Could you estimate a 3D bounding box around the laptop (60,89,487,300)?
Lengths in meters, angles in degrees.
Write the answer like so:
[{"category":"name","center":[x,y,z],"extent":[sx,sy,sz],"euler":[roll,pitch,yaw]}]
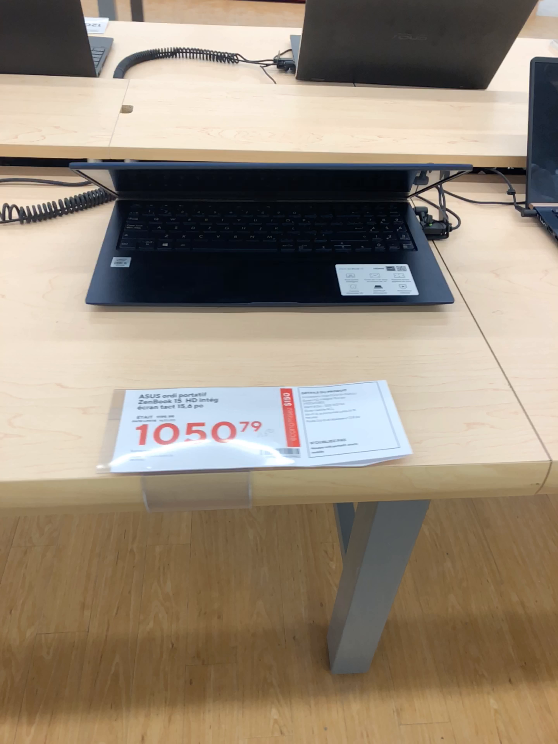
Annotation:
[{"category":"laptop","center":[-0.007,-0.181,0.606],"extent":[0.346,0.119,0.205],"euler":[0,43,-5]}]
